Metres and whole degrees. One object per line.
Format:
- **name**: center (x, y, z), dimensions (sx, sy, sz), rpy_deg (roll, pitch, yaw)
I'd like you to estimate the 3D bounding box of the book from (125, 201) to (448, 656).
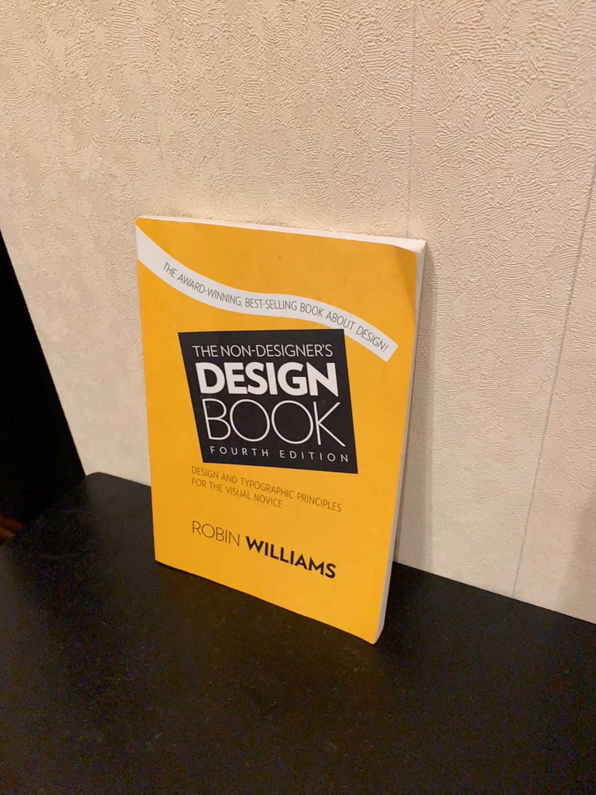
- **book**: center (-0.019, 0.018, 0.393), dimensions (0.190, 0.259, 0.030), rpy_deg (13, 24, 25)
